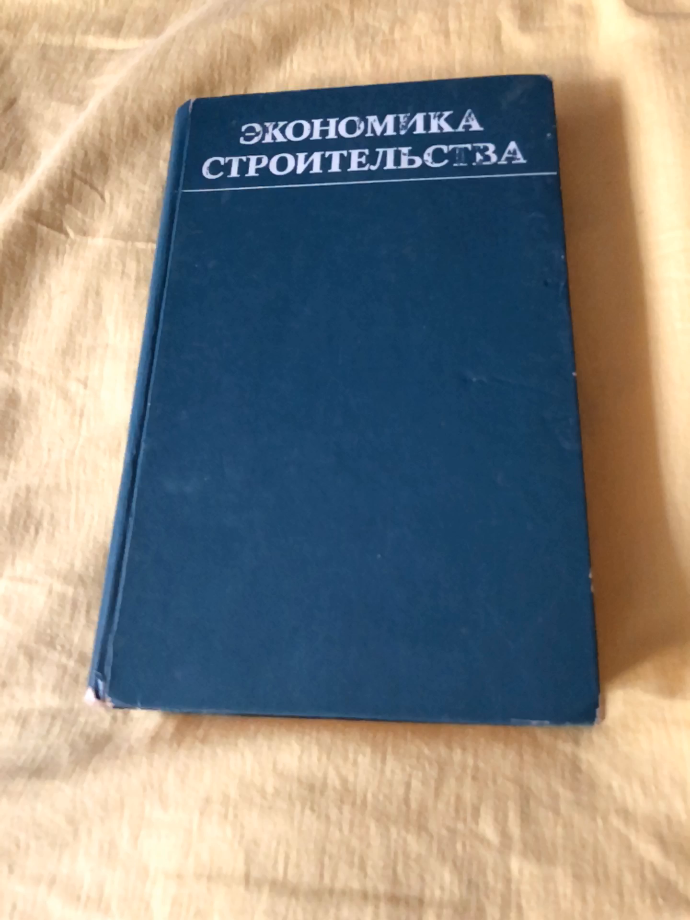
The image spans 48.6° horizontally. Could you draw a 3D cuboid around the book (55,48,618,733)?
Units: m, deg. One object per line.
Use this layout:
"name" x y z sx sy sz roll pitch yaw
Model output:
"book" 0.001 -0.029 0.224 0.130 0.030 0.200 -1 69 7
